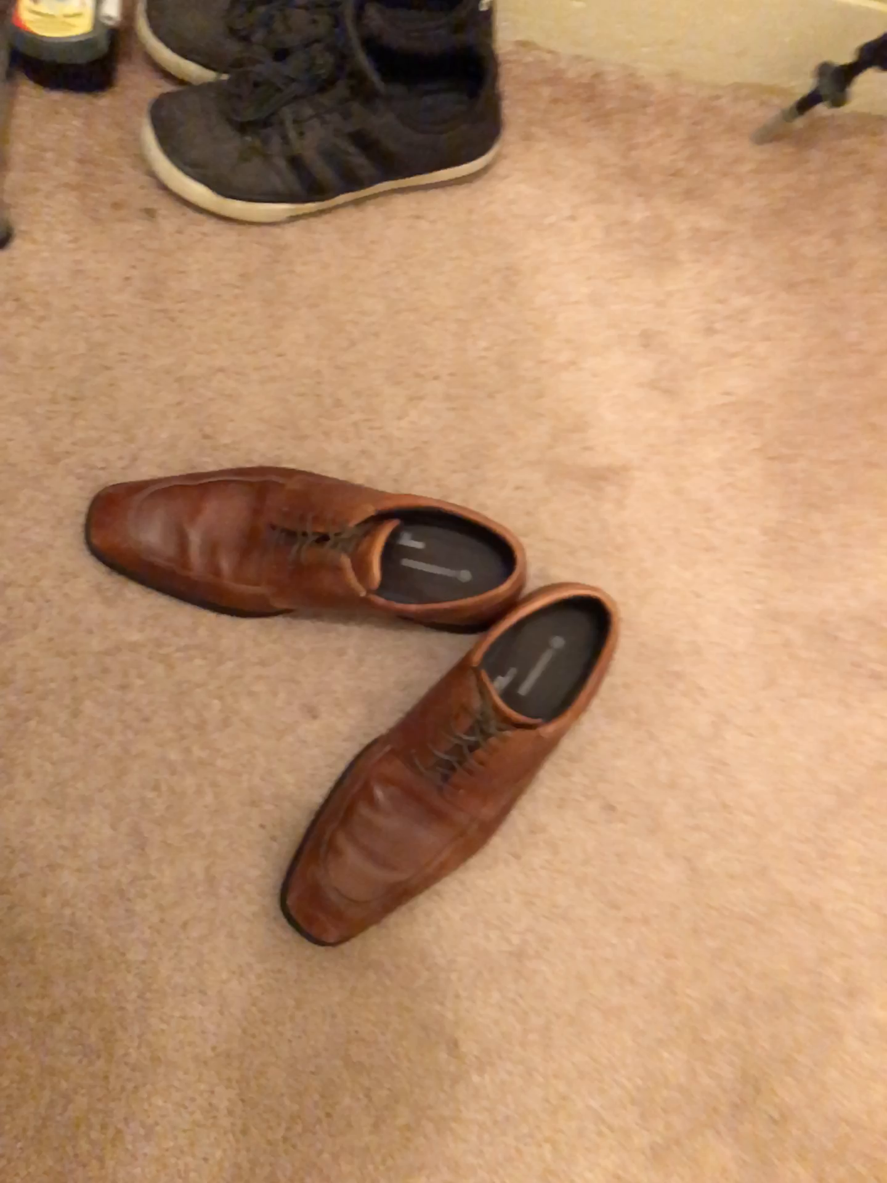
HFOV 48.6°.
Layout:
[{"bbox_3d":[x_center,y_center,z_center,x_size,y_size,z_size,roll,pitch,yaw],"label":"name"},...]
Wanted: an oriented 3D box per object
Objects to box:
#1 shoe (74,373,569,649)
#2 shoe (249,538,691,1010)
[{"bbox_3d":[-0.079,-0.047,0.685,0.300,0.120,0.120,8,78,-8],"label":"shoe"},{"bbox_3d":[0.016,0.114,0.660,0.100,0.110,0.300,44,76,1],"label":"shoe"}]
